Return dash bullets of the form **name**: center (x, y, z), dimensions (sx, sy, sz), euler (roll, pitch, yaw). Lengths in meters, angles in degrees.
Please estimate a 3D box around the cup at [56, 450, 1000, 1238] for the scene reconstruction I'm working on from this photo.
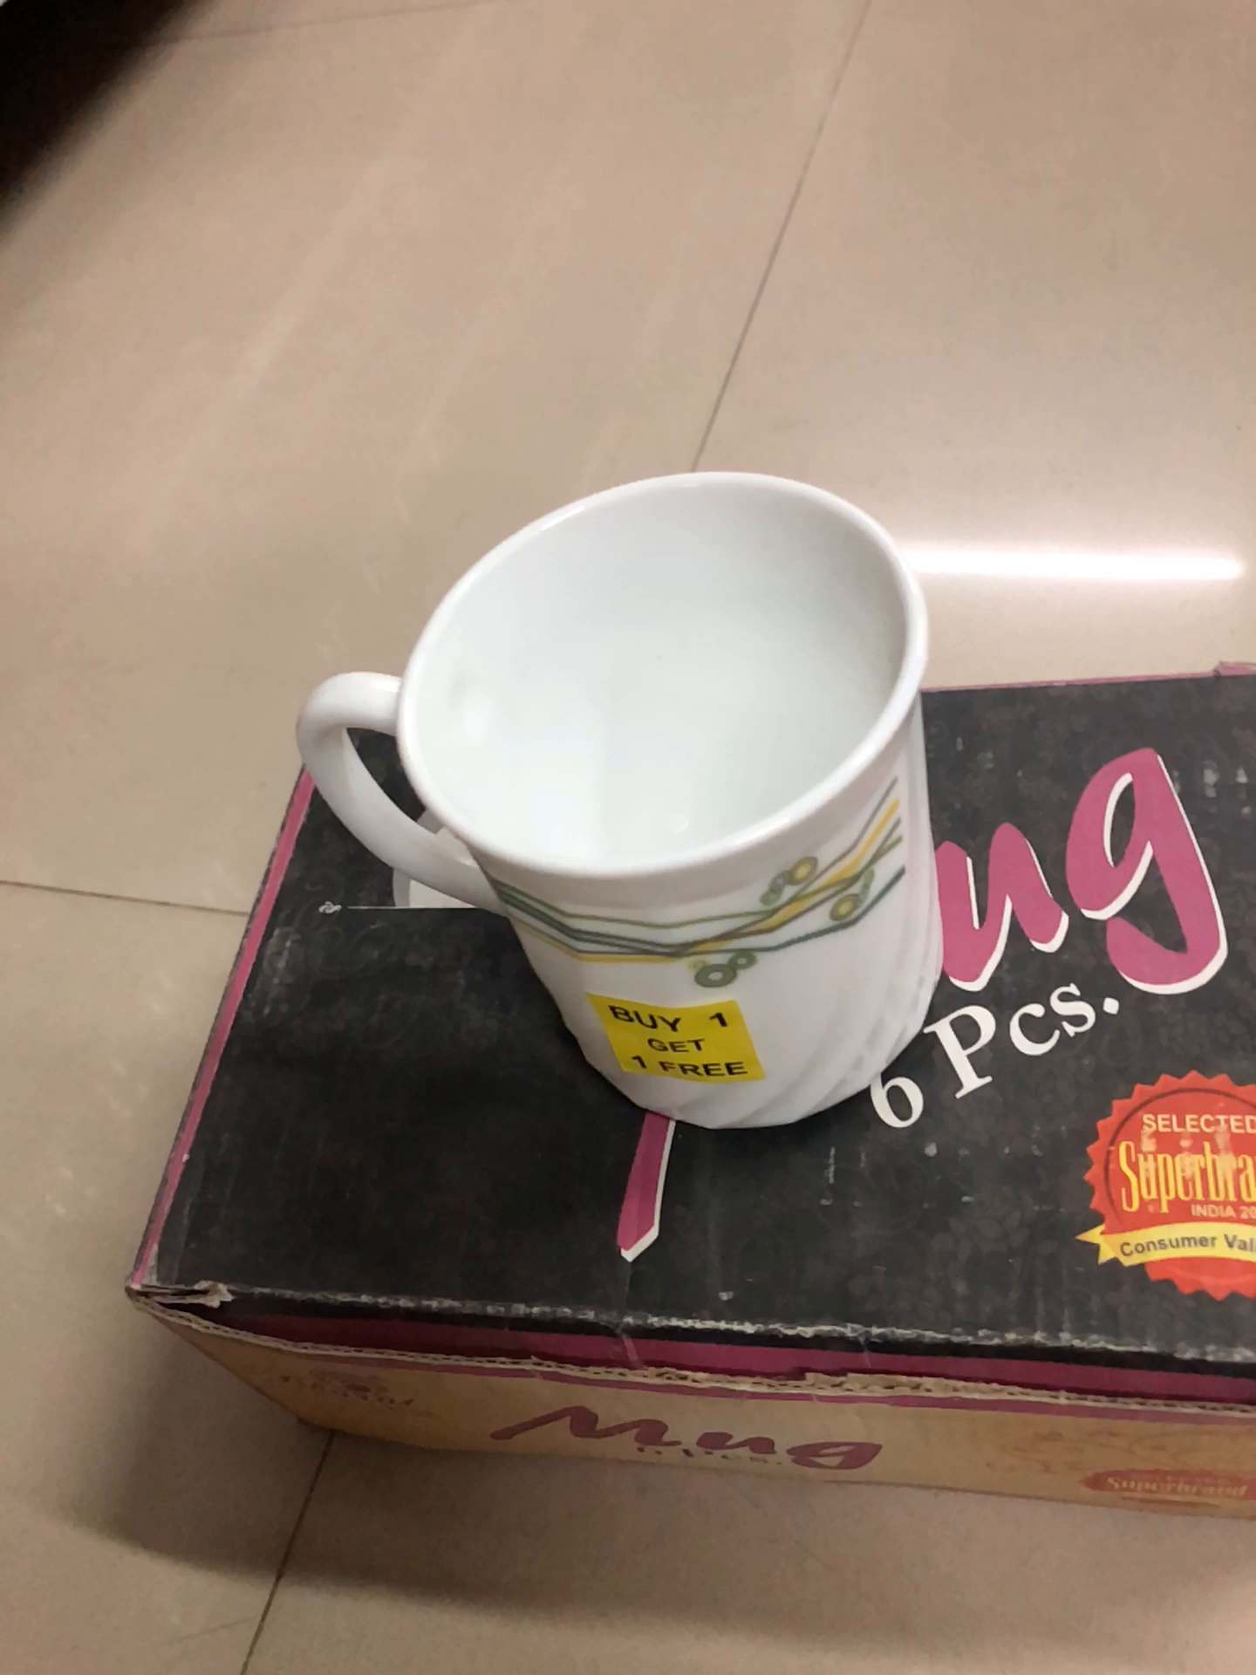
- **cup**: center (-0.003, 0.002, 0.239), dimensions (0.120, 0.099, 0.080), euler (4, 55, 19)
